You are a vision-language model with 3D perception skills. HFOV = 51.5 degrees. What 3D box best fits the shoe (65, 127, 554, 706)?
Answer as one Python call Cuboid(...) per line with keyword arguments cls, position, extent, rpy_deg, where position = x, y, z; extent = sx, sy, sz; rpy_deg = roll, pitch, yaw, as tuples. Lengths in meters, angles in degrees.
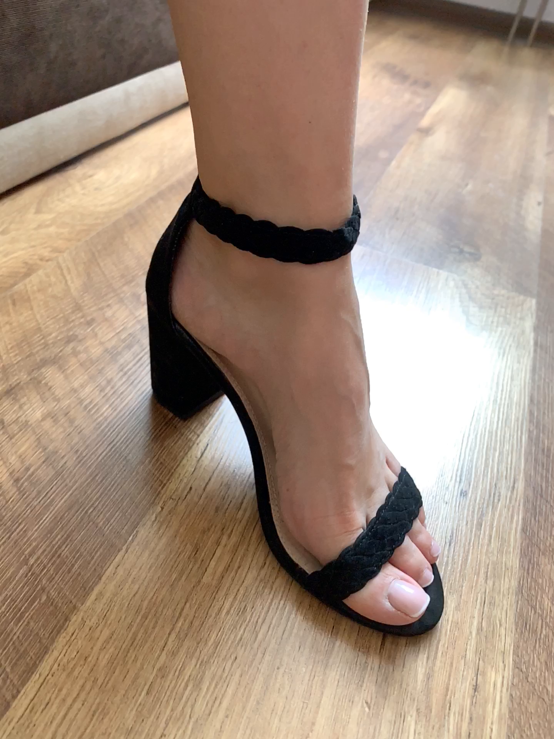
Cuboid(cls="shoe", position=(0.005, 0.005, 0.276), extent=(0.090, 0.149, 0.231), rpy_deg=(-27, 52, -35))
